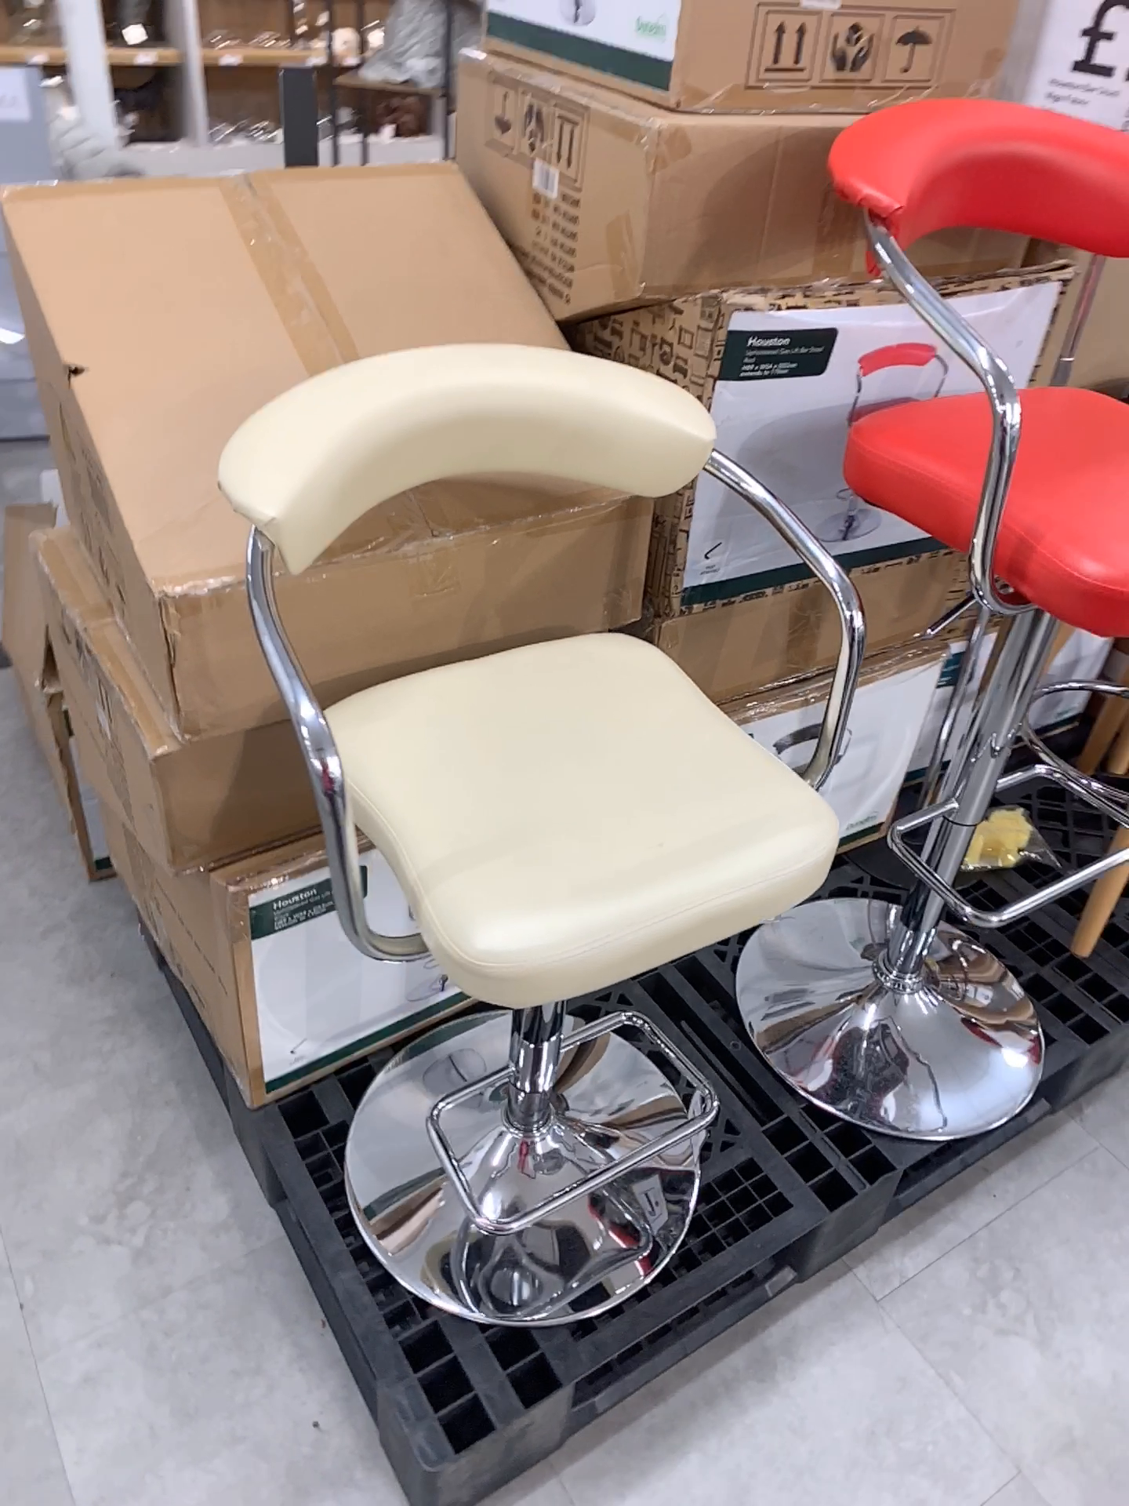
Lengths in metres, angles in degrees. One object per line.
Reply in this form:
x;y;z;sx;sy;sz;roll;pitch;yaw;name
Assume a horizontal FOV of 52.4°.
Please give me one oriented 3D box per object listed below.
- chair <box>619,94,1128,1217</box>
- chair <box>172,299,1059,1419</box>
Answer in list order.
0.456;-0.096;1.294;0.475;1.059;0.523;-17;42;-28;chair
-0.015;0.089;1.103;0.465;0.841;0.503;-17;42;-28;chair
